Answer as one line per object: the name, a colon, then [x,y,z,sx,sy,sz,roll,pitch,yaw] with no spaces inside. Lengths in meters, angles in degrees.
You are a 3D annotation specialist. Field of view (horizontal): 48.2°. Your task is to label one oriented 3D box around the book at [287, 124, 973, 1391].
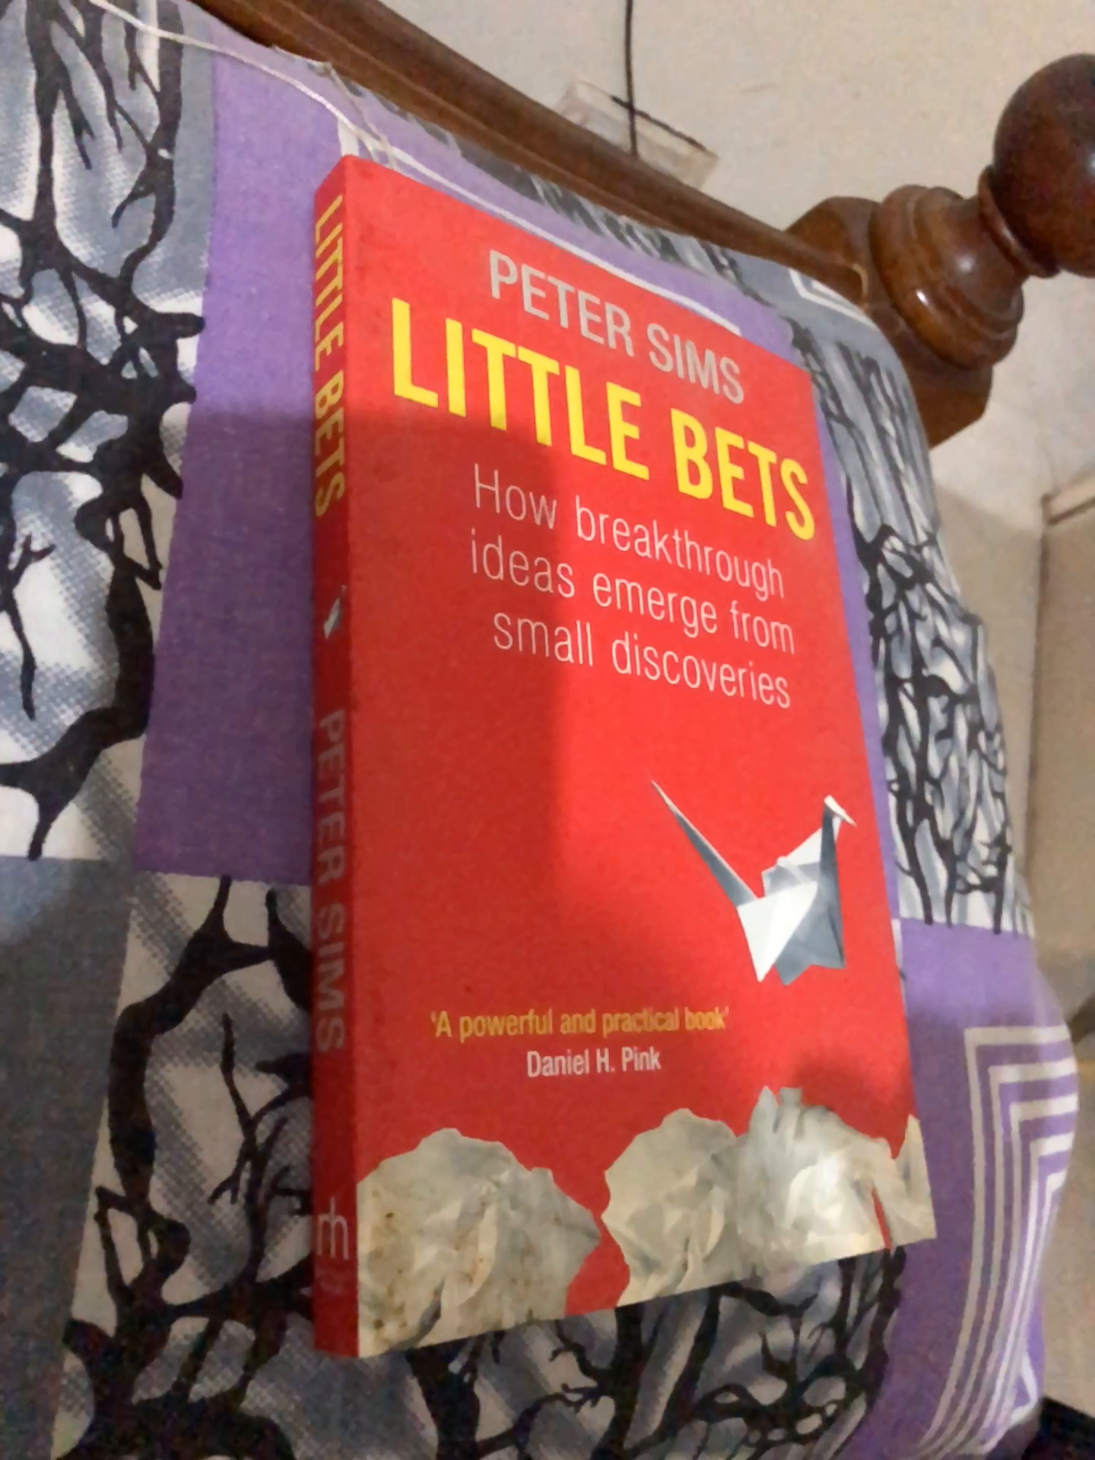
book: [0.017,-0.002,0.271,0.151,0.020,0.240,10,66,-36]
